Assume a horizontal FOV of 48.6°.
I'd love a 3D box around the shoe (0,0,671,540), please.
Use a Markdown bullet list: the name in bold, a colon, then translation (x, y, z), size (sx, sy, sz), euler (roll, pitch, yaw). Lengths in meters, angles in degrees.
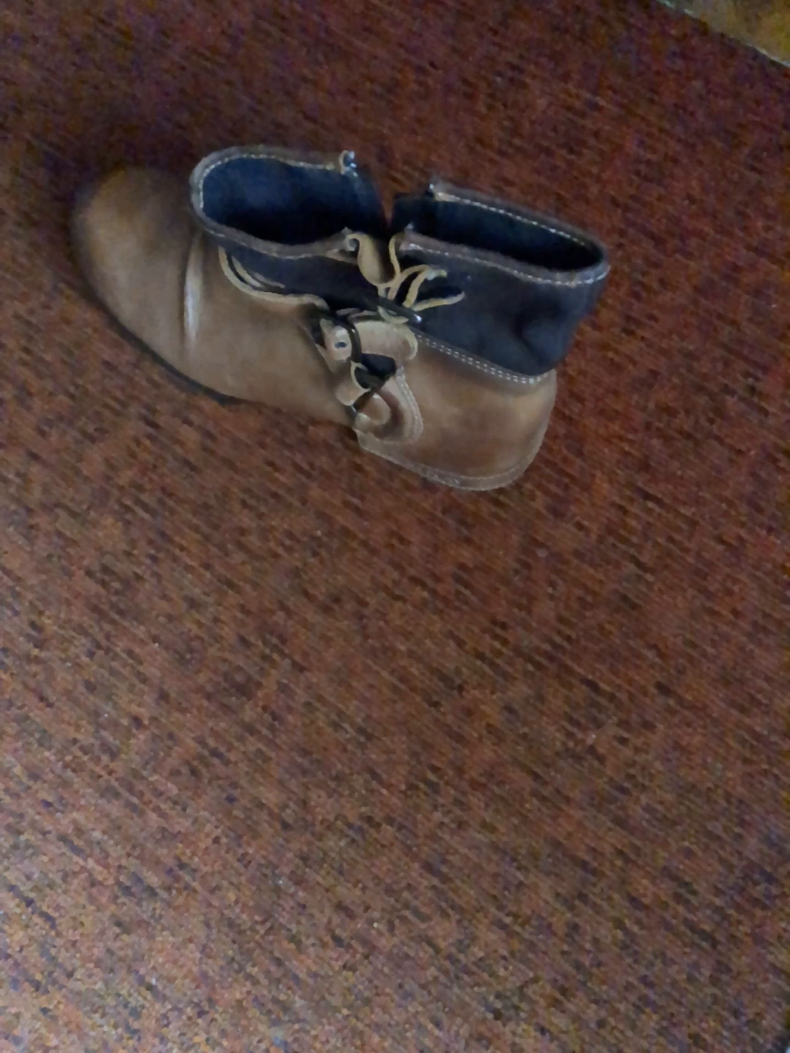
- **shoe**: translation (-0.053, -0.126, 0.390), size (0.280, 0.190, 0.110), euler (28, 80, 10)
